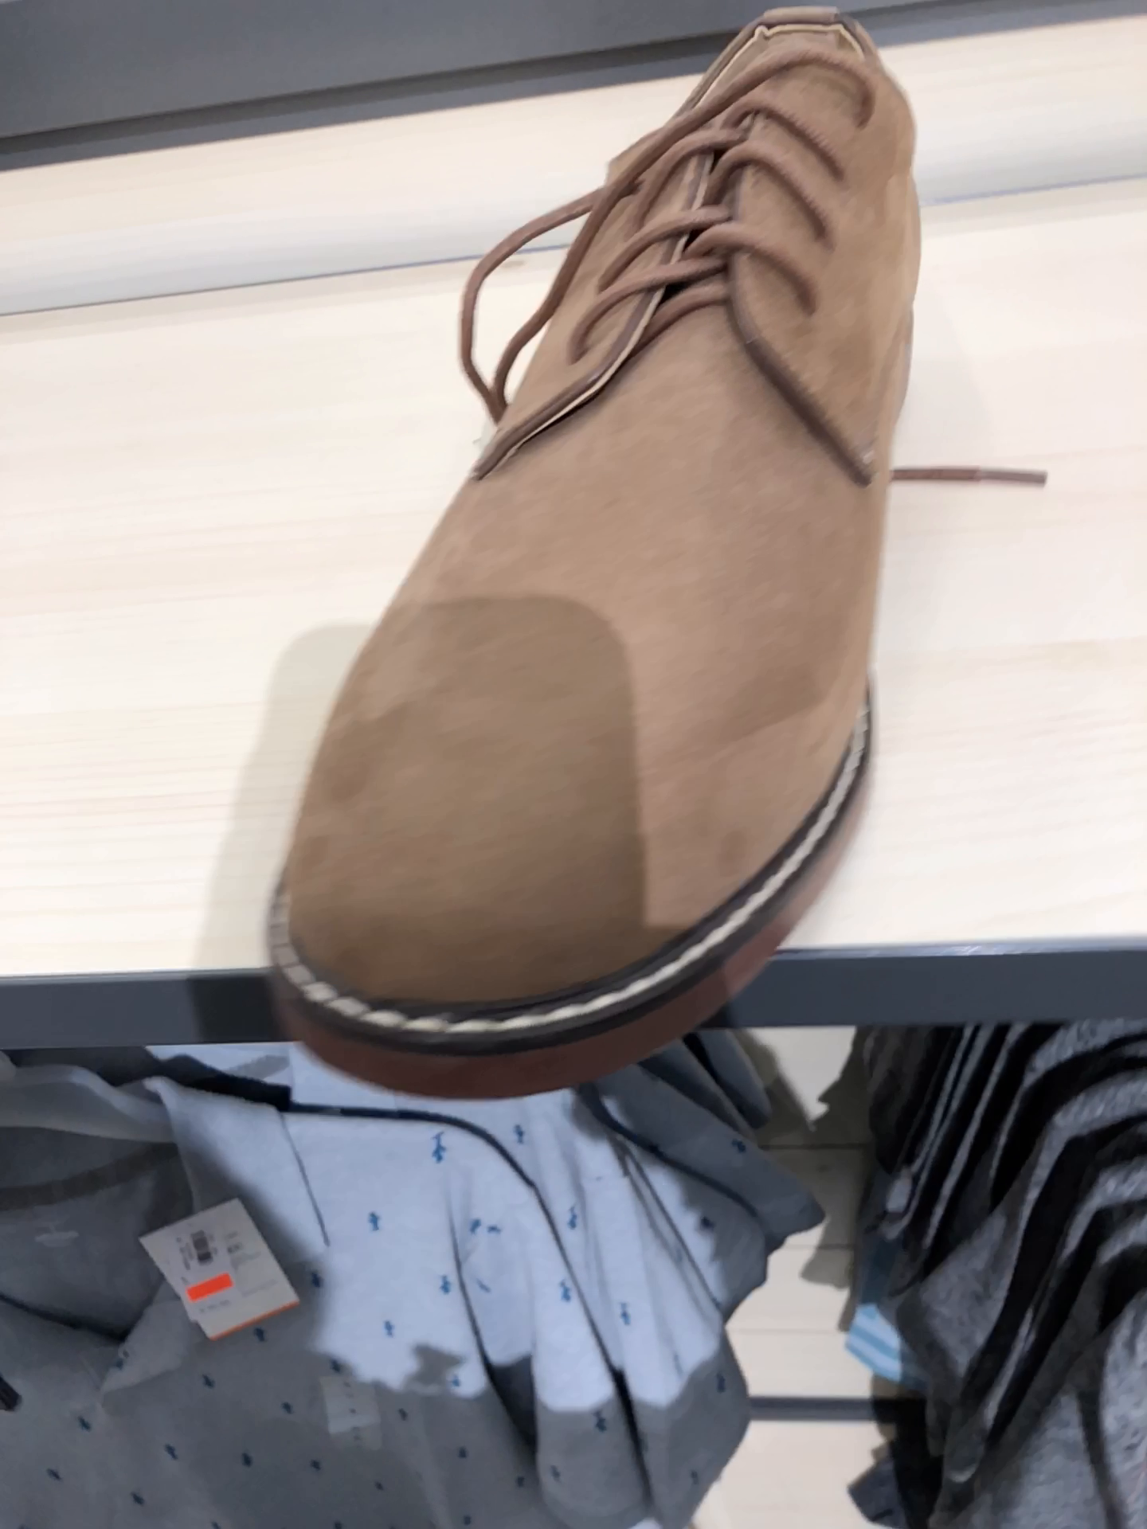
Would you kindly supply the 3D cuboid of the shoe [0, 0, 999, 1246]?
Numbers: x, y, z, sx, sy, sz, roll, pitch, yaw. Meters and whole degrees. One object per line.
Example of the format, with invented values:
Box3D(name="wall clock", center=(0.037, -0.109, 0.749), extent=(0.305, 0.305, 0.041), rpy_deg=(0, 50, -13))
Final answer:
Box3D(name="shoe", center=(0.012, -0.072, 0.285), extent=(0.120, 0.110, 0.301), rpy_deg=(7, 43, 20))
